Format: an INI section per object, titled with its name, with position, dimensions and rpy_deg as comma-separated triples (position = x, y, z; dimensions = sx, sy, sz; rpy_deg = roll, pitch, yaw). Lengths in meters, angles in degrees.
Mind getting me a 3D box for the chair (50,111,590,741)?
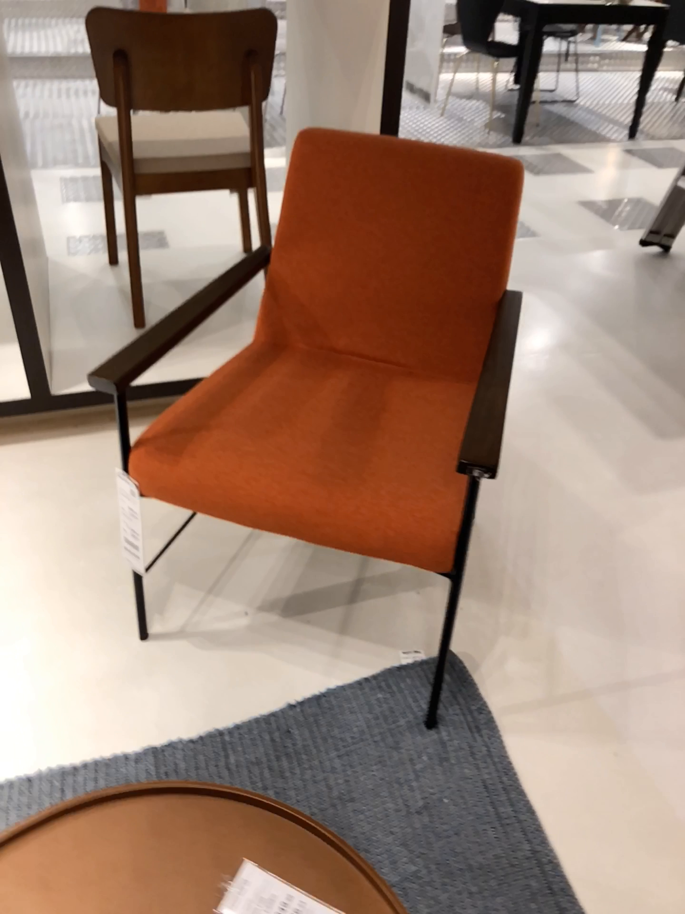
[chair]
position = 0.017, -0.098, 1.432
dimensions = 0.650, 0.824, 0.705
rpy_deg = 13, 38, 13
